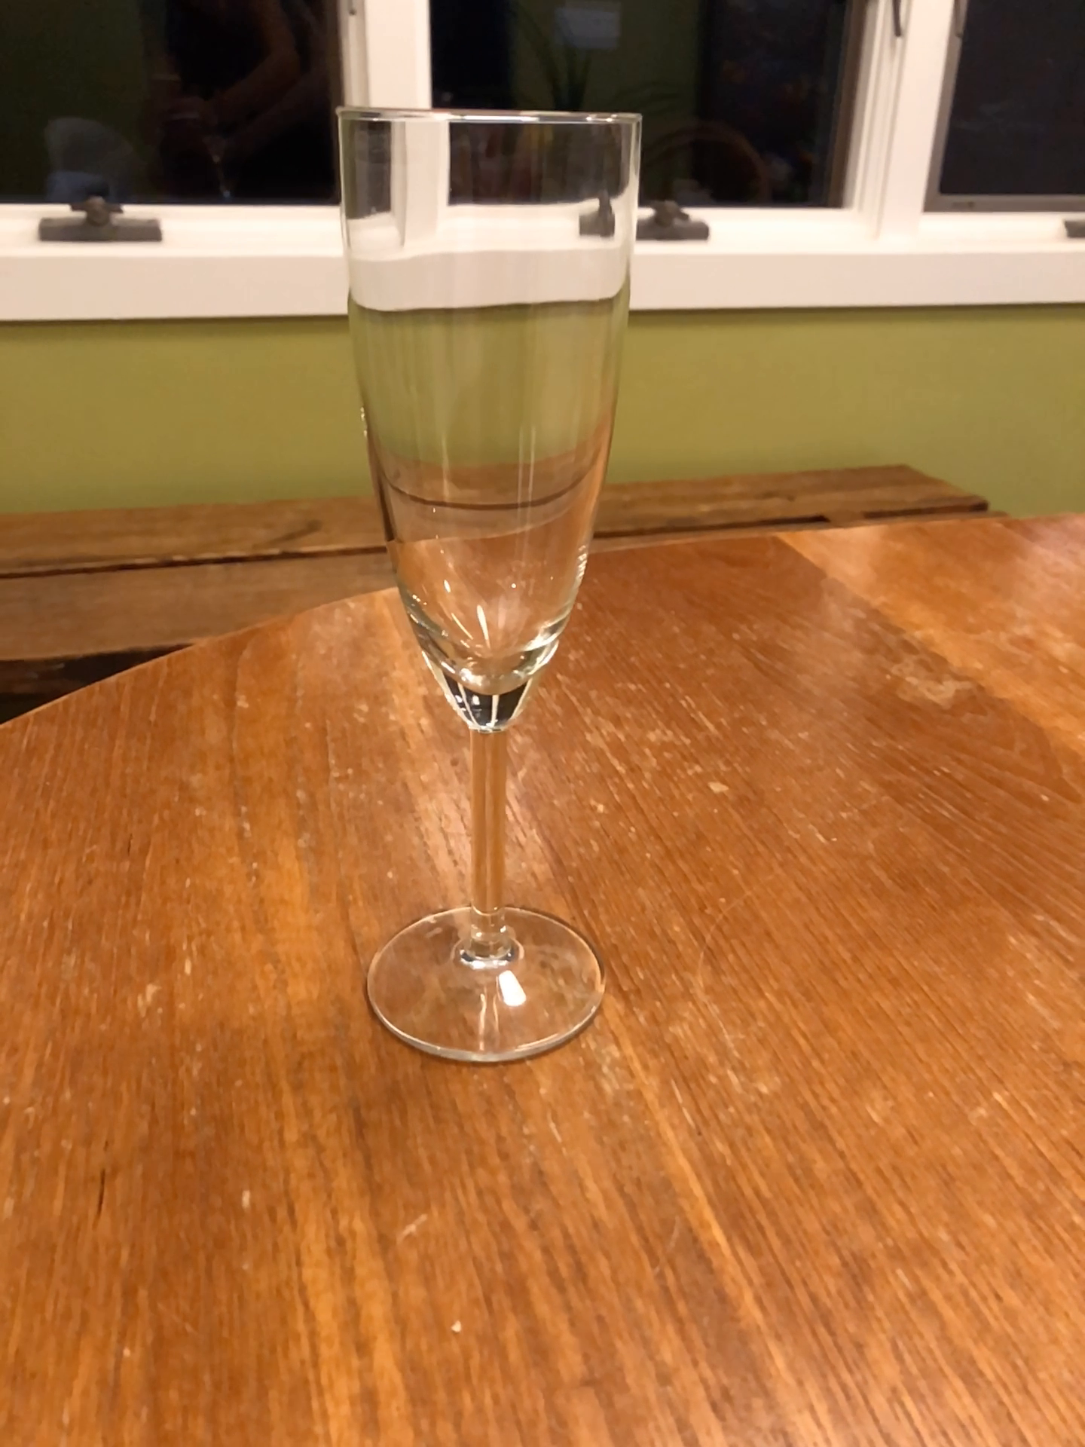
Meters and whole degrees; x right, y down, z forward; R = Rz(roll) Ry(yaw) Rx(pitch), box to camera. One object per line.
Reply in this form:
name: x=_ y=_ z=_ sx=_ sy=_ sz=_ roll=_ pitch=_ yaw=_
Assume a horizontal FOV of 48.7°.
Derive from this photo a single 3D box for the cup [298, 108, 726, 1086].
cup: x=-0.012 y=-0.027 z=0.285 sx=0.070 sy=0.211 sz=0.077 roll=-6 pitch=27 yaw=-13
